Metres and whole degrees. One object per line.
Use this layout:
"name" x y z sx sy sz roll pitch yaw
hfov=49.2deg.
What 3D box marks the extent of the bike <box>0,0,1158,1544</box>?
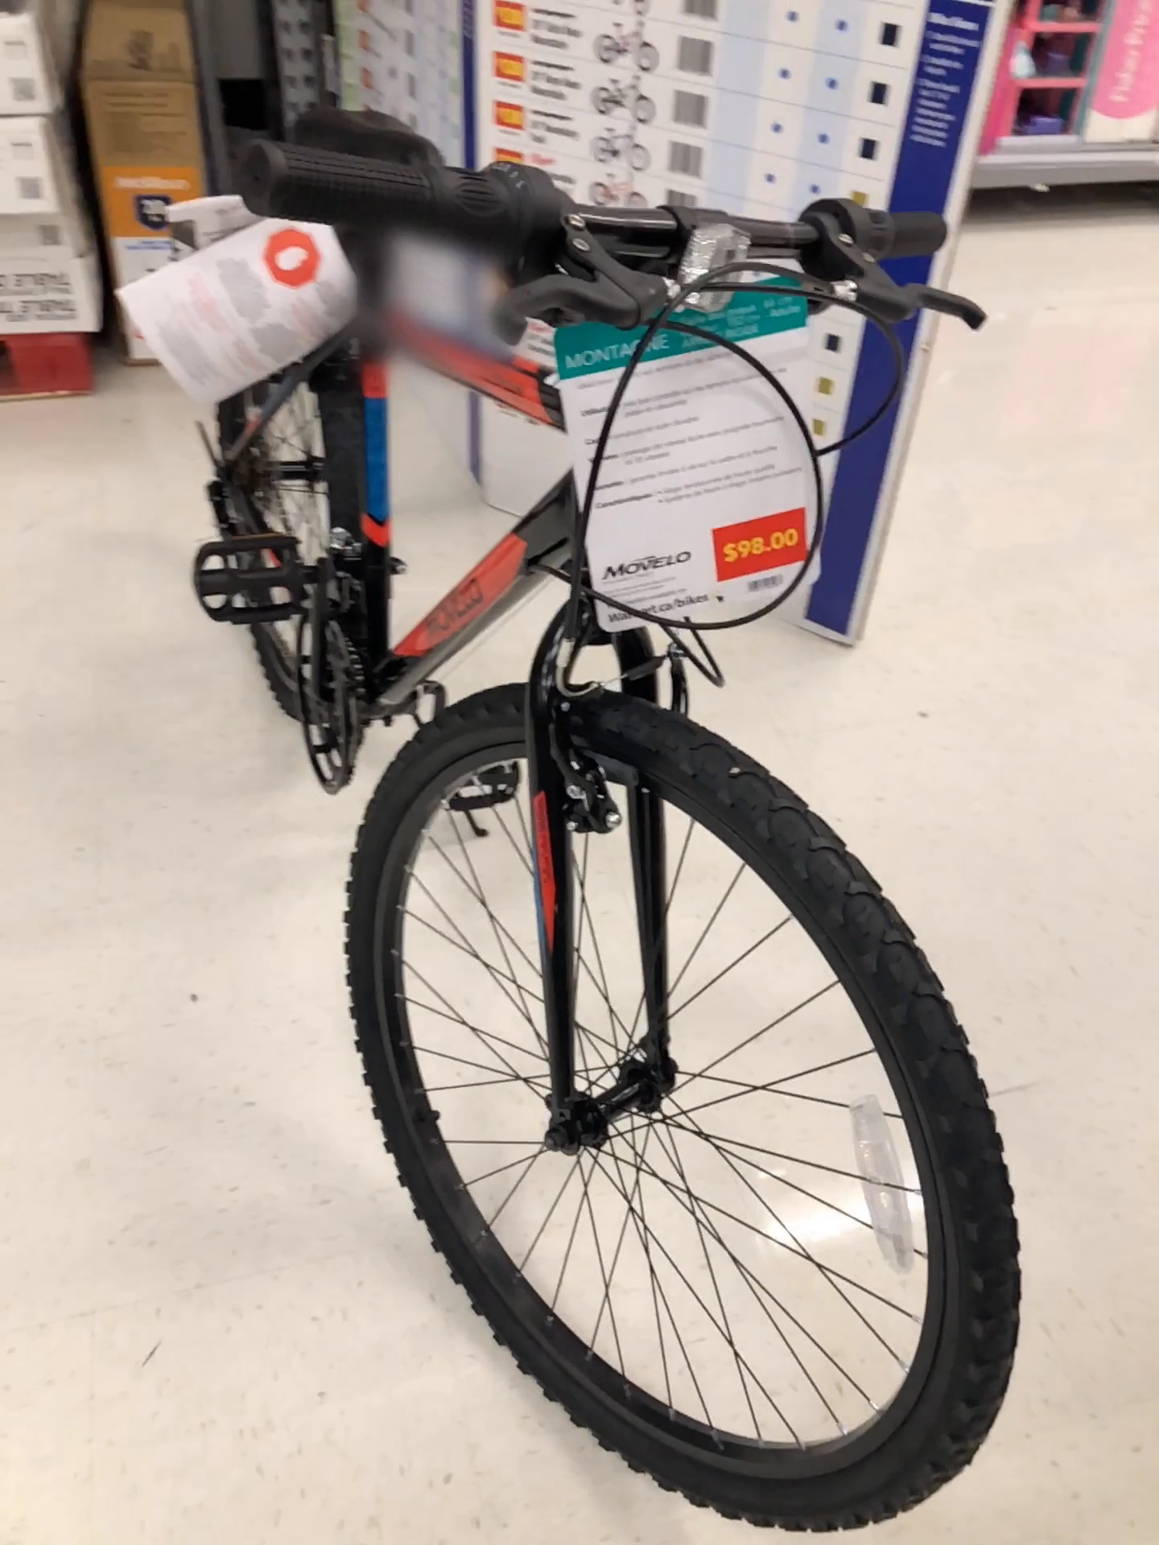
"bike" -0.082 -0.119 1.047 0.559 0.942 1.292 -15 44 -20
